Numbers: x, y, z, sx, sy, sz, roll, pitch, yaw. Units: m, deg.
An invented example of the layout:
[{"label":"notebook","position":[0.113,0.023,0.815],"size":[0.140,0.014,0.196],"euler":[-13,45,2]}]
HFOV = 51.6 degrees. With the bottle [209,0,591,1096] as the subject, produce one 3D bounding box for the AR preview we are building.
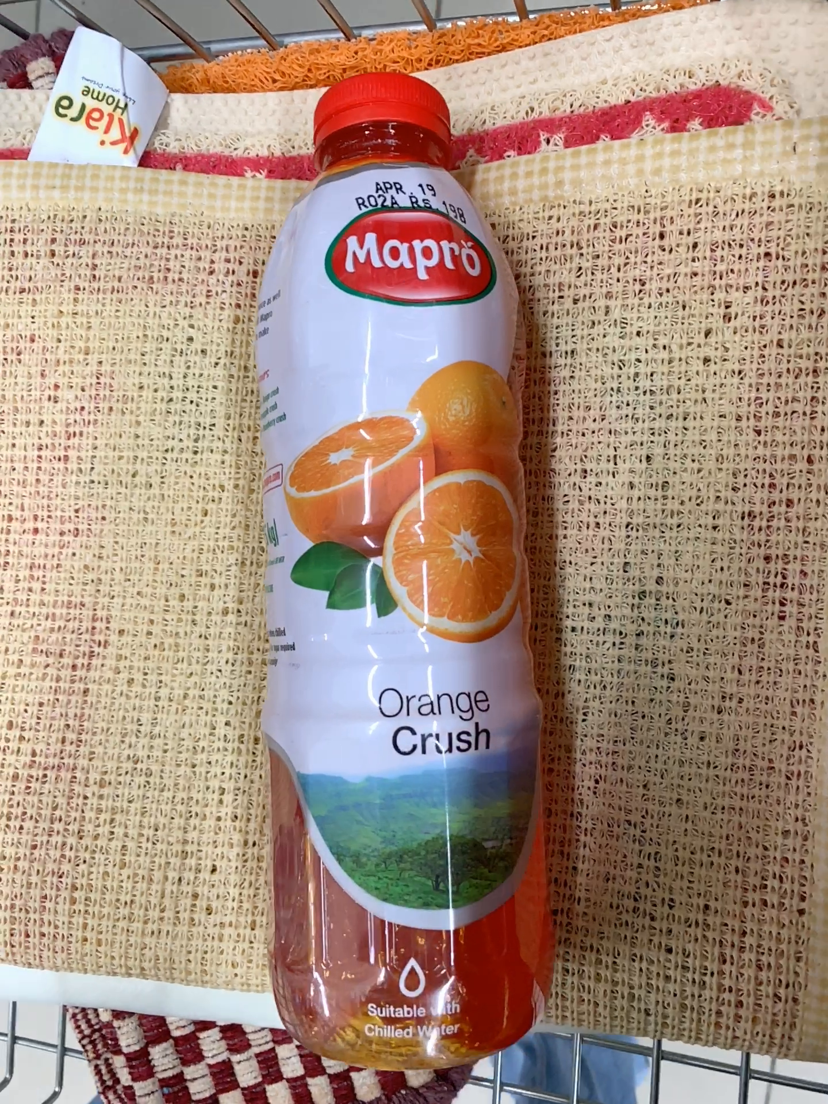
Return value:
[{"label":"bottle","position":[-0.008,-0.010,0.217],"size":[0.080,0.070,0.240],"euler":[1,87,-11]}]
